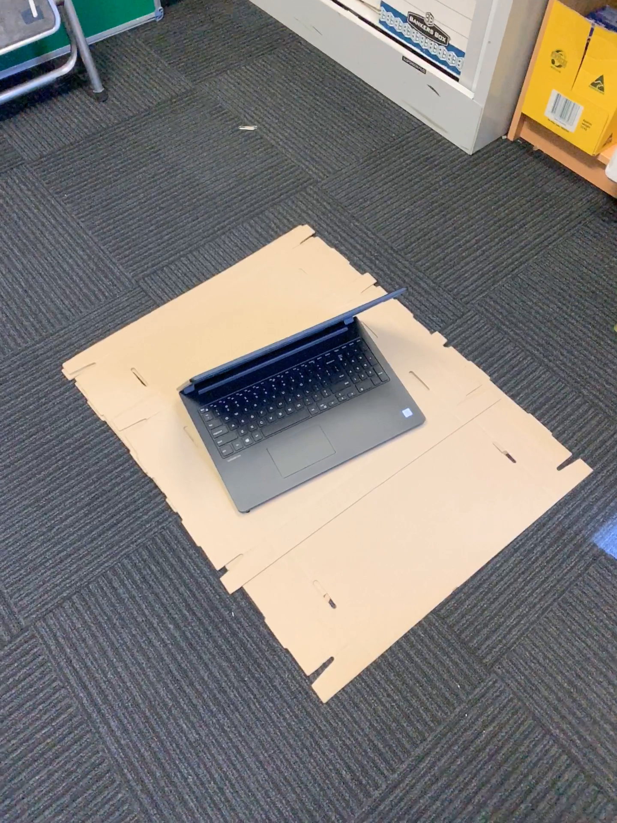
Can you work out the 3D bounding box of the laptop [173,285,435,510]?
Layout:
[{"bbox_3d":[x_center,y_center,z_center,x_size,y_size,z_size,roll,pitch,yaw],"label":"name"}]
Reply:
[{"bbox_3d":[-0.008,-0.032,0.997,0.341,0.085,0.221,-25,66,-15],"label":"laptop"}]
